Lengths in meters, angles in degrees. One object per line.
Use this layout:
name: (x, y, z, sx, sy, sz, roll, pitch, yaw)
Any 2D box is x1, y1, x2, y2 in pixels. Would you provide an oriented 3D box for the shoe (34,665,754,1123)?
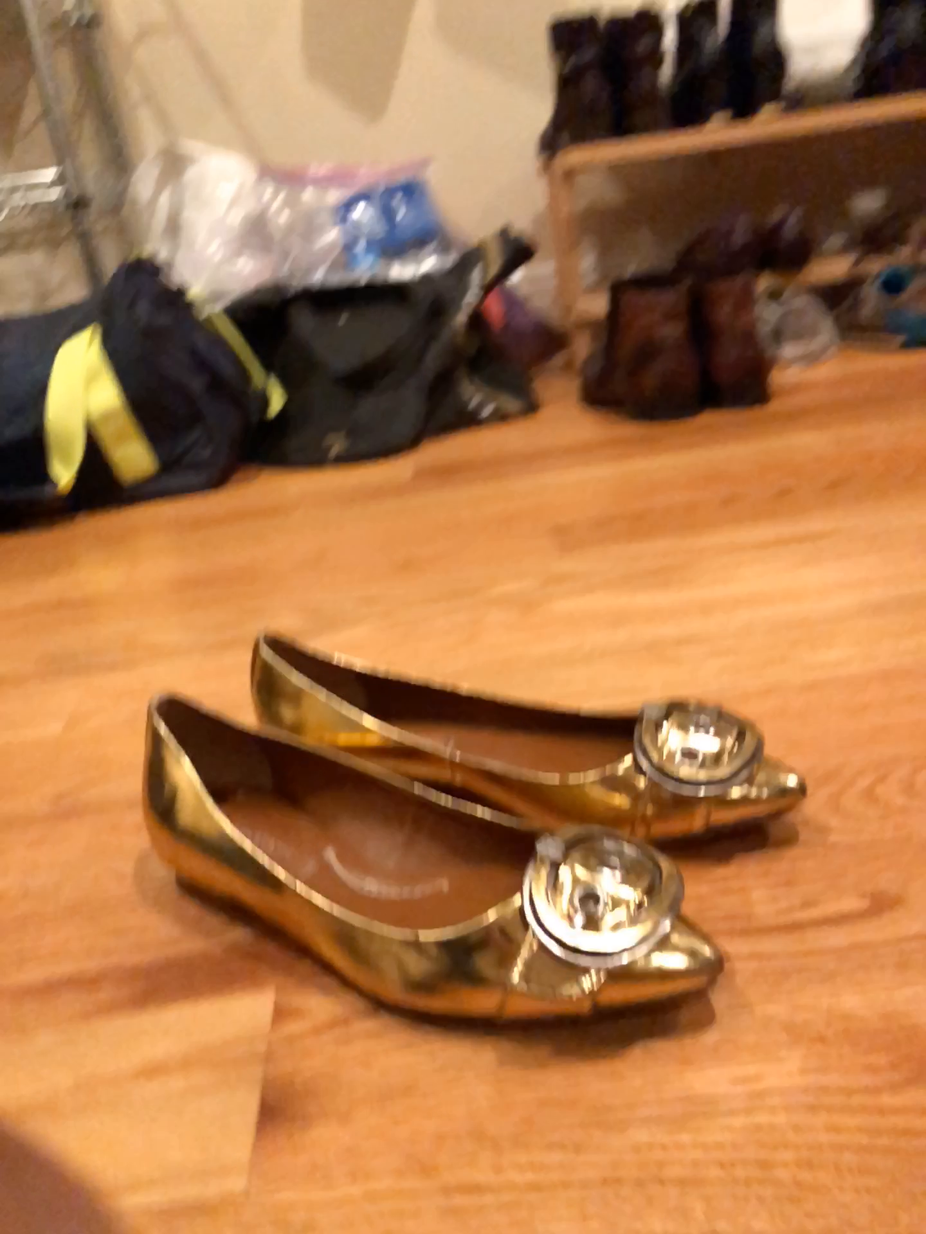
shoe: (-0.035, 0.078, 0.359, 0.249, 0.066, 0.077, 7, 25, 34)

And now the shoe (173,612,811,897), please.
shoe: (0.011, 0.047, 0.422, 0.244, 0.066, 0.083, 1, 23, 24)
